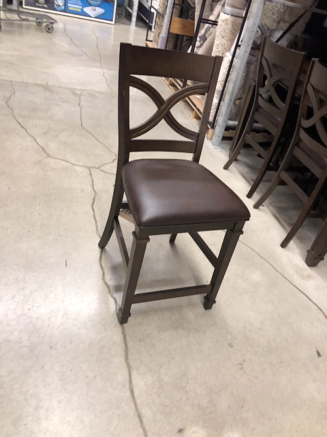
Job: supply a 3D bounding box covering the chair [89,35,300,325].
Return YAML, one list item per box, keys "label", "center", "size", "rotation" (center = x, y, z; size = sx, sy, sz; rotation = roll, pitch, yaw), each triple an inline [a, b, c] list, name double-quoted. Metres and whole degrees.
- label: "chair"
  center: [0.012, -0.150, 1.609]
  size: [0.491, 1.027, 0.651]
  rotation: [-3, 39, -23]
